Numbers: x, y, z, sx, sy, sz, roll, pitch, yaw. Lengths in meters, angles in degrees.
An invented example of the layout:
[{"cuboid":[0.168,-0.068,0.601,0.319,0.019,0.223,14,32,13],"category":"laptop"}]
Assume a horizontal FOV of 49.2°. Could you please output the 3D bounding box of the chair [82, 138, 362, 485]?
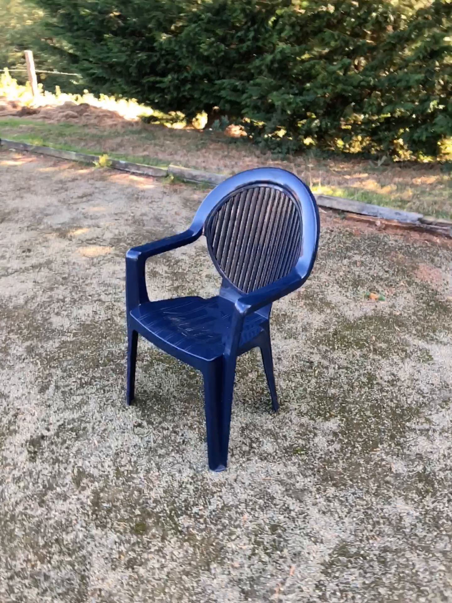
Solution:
[{"cuboid":[-0.016,-0.022,1.647,0.591,0.855,0.573,24,36,35],"category":"chair"}]
